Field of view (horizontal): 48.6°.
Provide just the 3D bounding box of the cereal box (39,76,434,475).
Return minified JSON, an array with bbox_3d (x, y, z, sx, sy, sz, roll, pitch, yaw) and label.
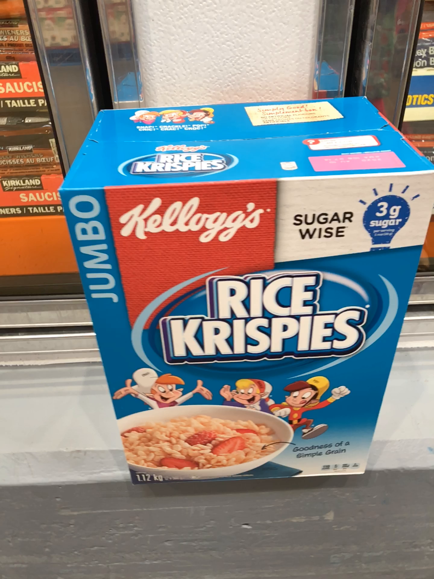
[{"bbox_3d":[0.021,0.002,0.438,0.240,0.319,0.161,-3,38,0],"label":"cereal box"}]
